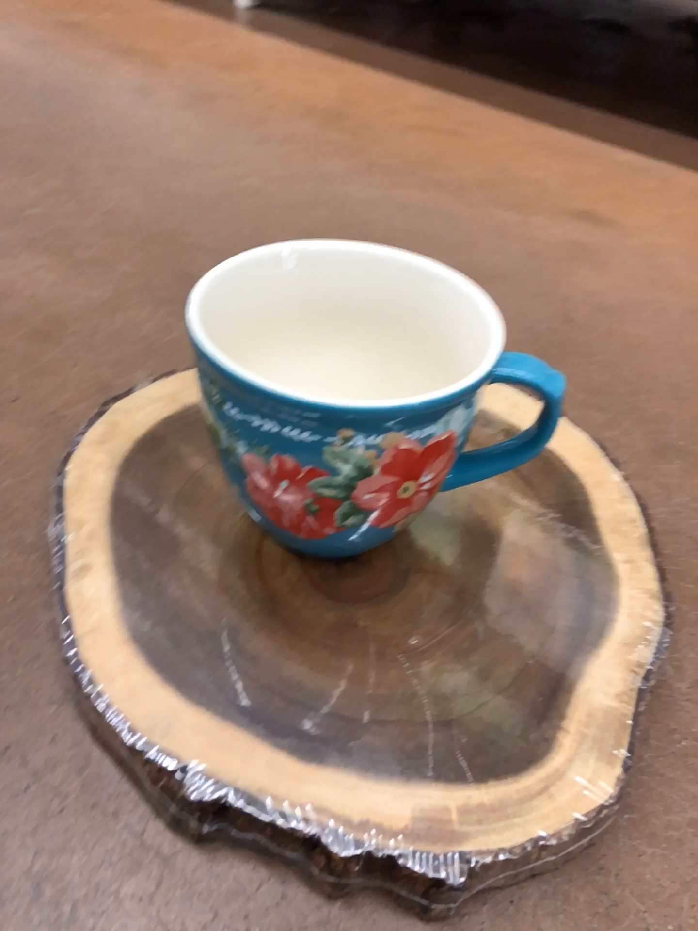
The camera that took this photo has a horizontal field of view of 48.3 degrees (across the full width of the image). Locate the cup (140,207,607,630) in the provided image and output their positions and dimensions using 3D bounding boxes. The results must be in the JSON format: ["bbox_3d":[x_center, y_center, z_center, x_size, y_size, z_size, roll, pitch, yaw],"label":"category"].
[{"bbox_3d":[0.013,-0.022,0.274,0.130,0.080,0.100,13,41,8],"label":"cup"}]
